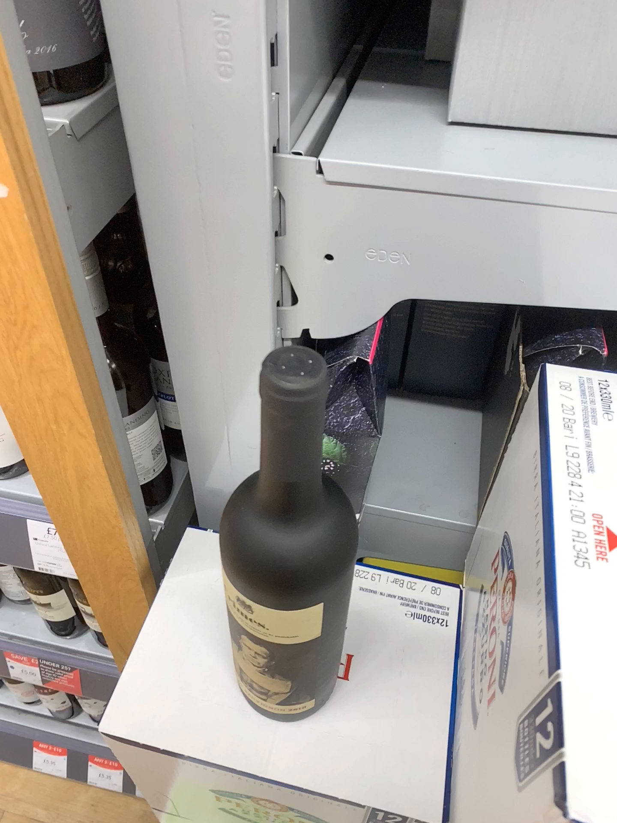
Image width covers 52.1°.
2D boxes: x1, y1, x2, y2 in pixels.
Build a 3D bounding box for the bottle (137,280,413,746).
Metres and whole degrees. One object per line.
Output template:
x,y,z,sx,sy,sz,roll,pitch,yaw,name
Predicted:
-0.014,0.080,0.348,0.078,0.288,0.075,1,46,-1,bottle
